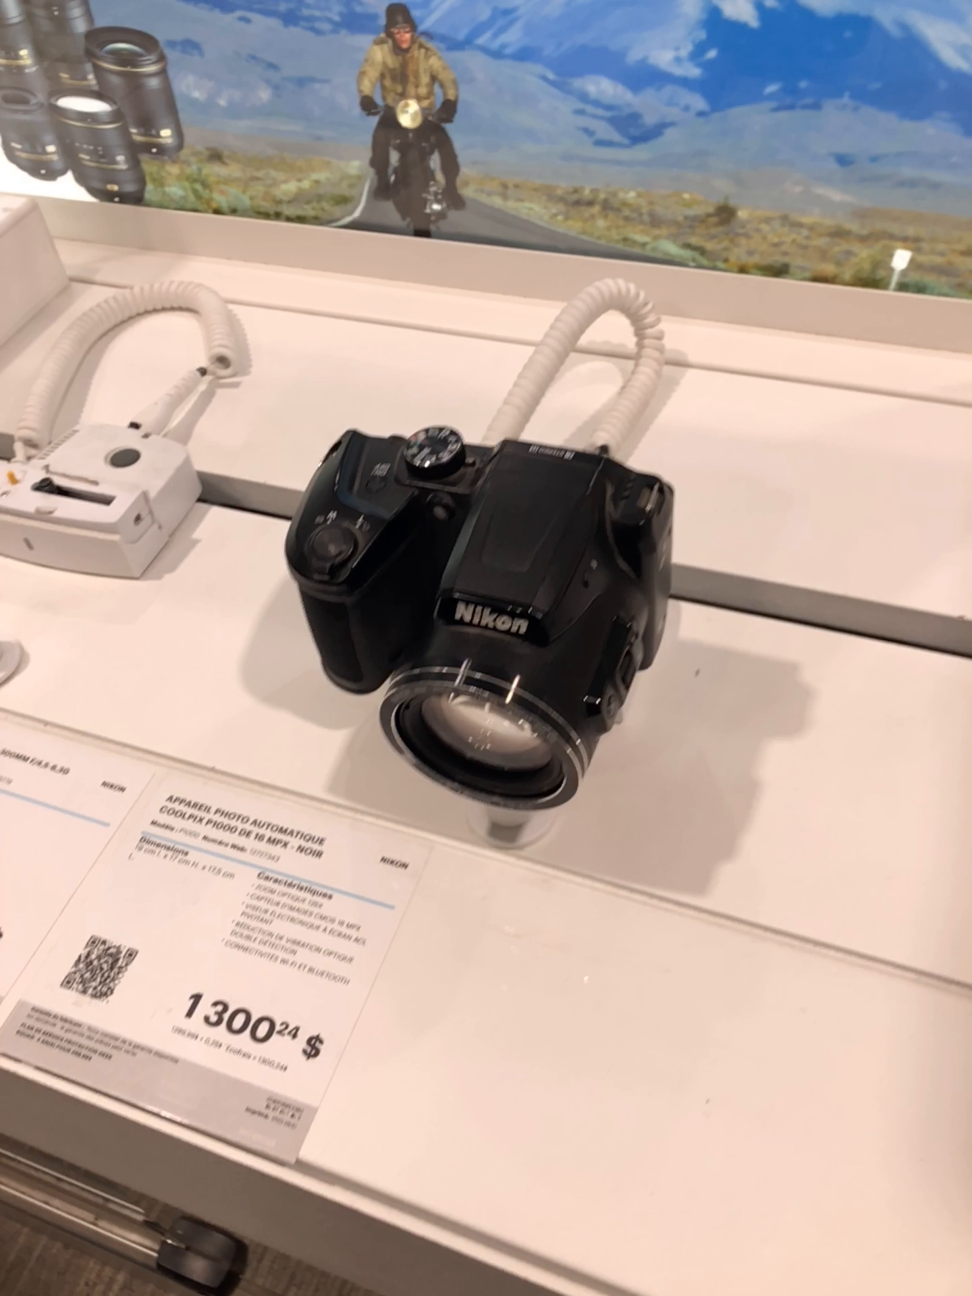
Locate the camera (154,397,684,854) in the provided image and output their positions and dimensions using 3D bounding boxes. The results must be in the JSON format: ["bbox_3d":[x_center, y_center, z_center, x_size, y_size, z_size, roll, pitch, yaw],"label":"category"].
[{"bbox_3d":[-0.012,-0.011,0.312,0.117,0.067,0.092,11,50,16],"label":"camera"}]
